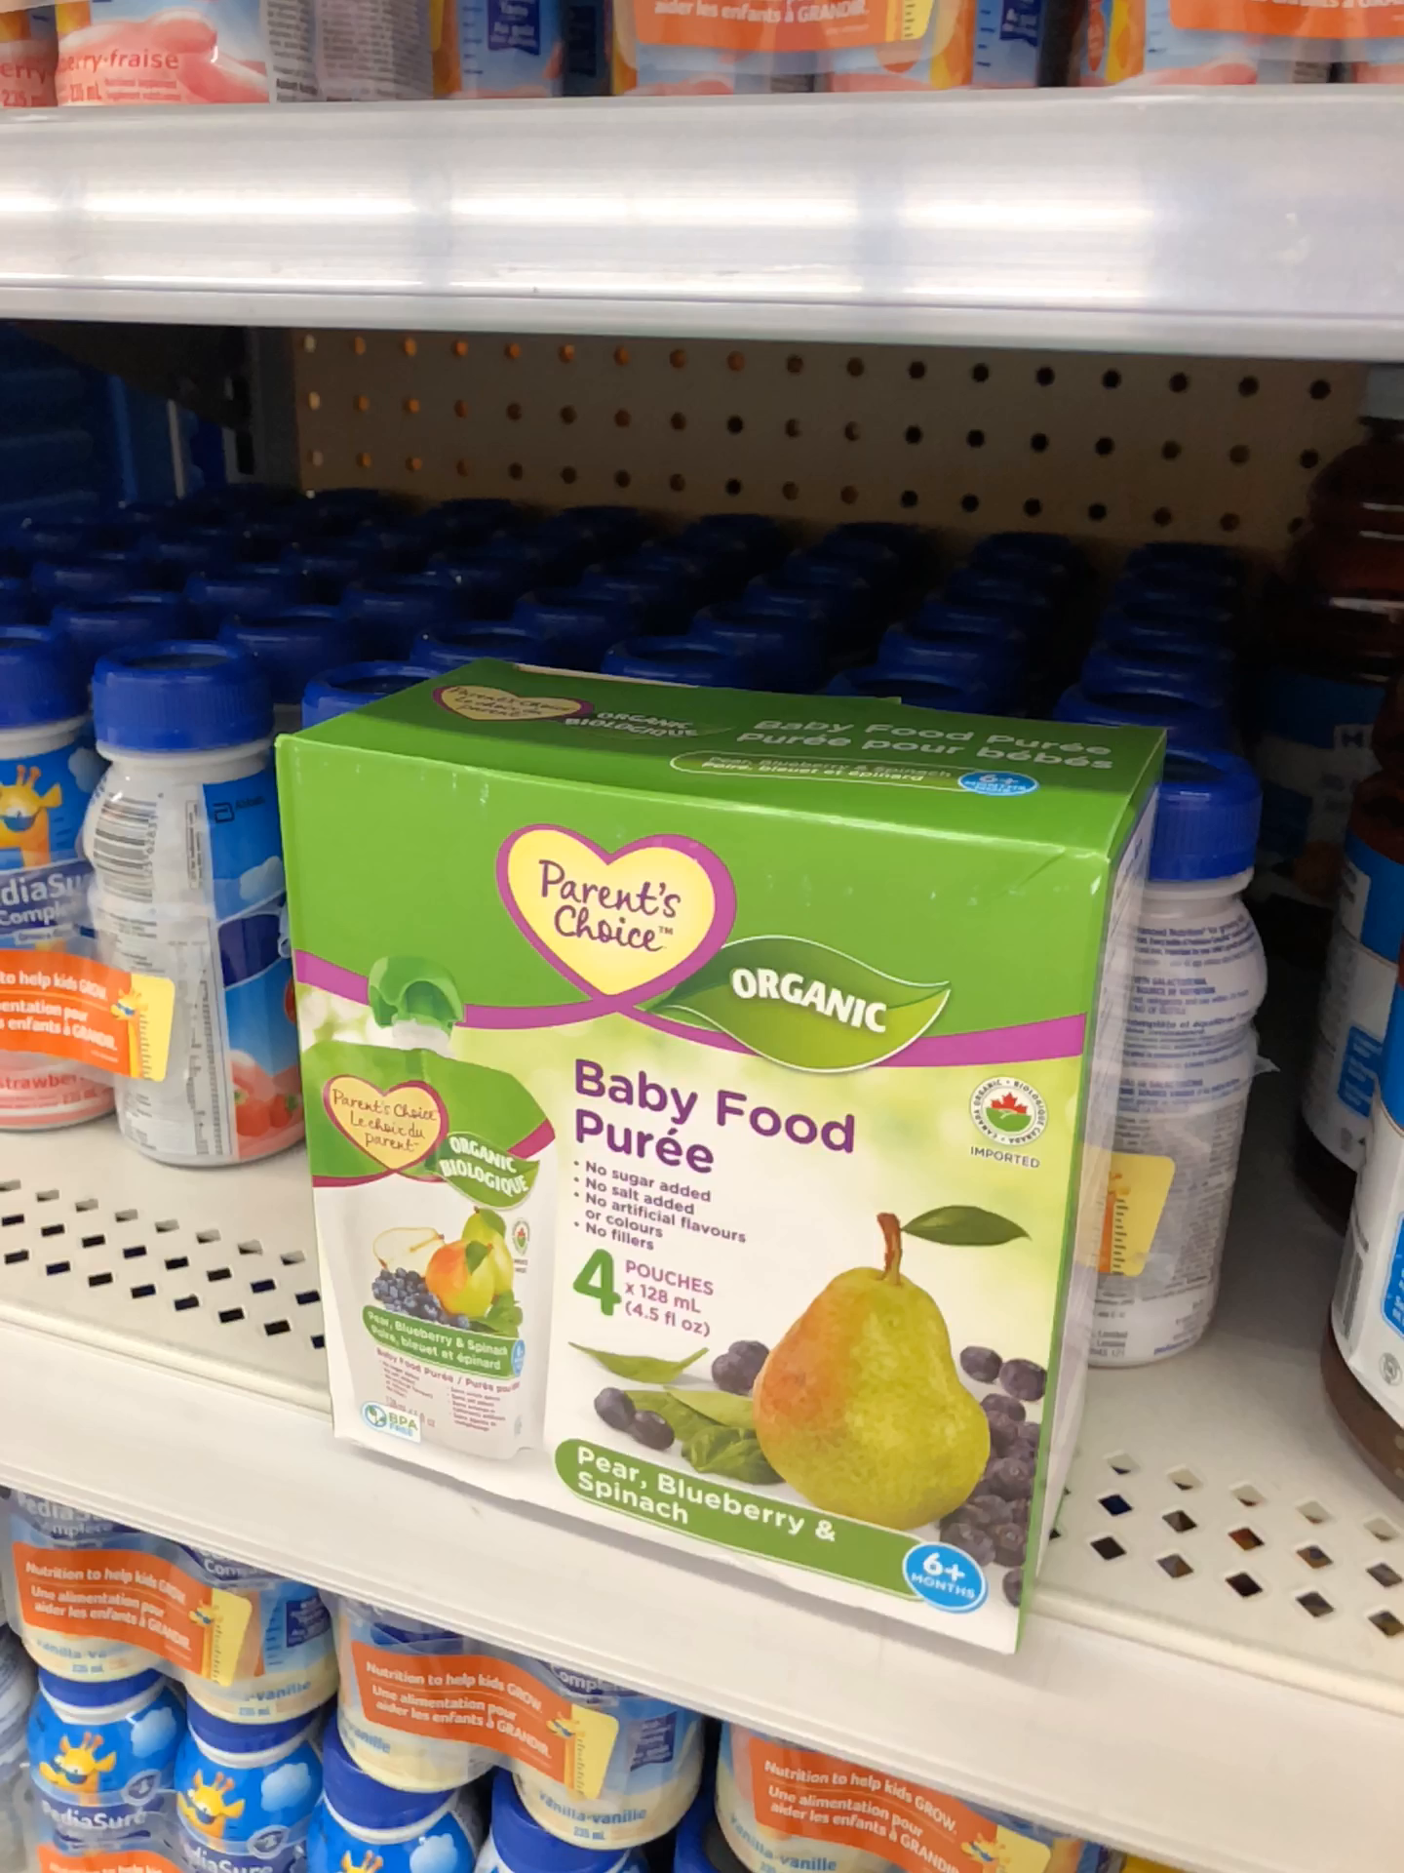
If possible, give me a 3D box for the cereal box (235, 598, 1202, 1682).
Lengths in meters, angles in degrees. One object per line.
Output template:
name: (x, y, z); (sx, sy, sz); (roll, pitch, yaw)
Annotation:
cereal box: (0.005, 0.029, 0.307); (0.150, 0.159, 0.091); (10, 24, 18)
